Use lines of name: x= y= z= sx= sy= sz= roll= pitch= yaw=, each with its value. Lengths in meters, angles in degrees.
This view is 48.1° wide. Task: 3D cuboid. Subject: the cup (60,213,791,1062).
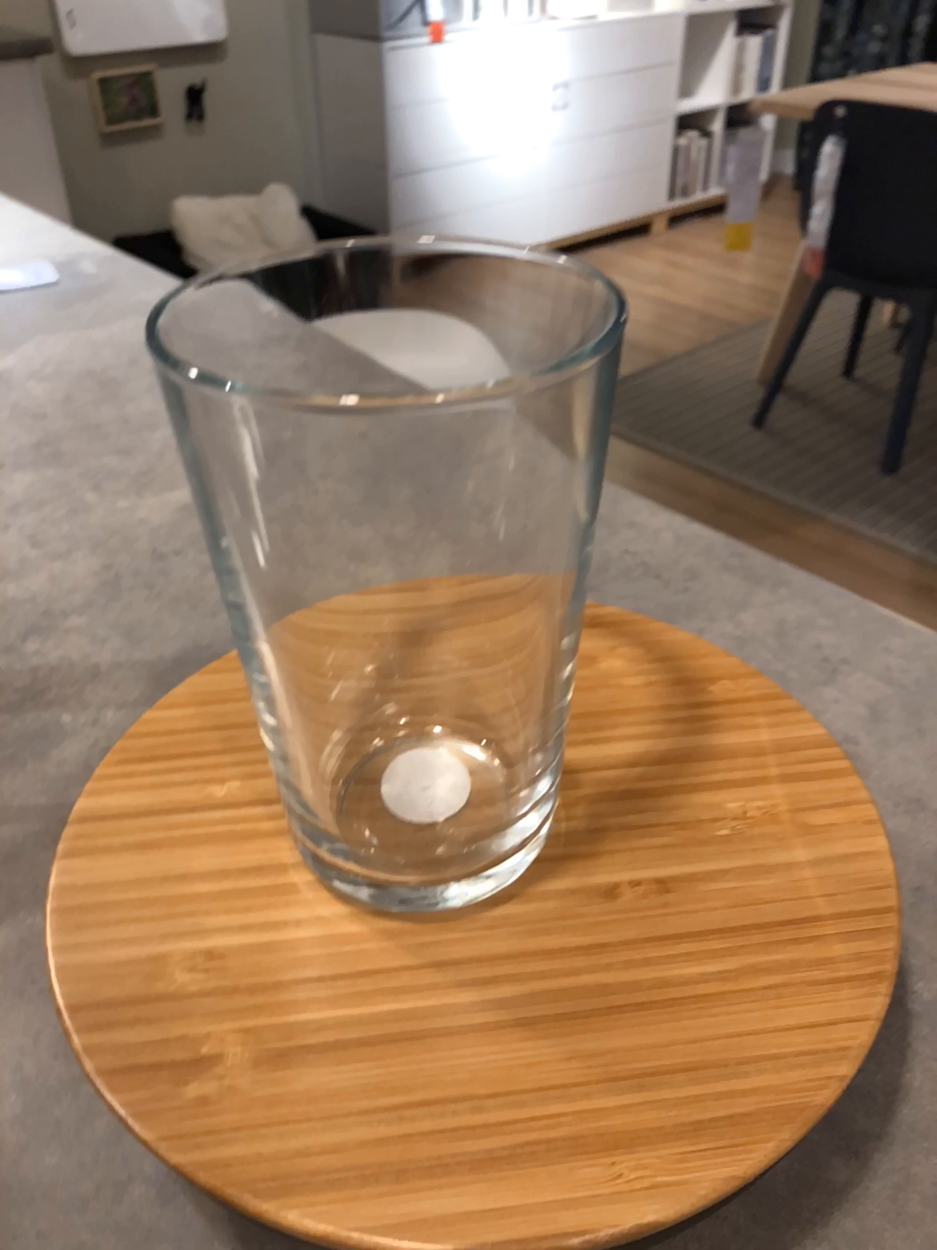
cup: x=-0.006 y=-0.005 z=0.242 sx=0.100 sy=0.139 sz=0.100 roll=0 pitch=35 yaw=0
